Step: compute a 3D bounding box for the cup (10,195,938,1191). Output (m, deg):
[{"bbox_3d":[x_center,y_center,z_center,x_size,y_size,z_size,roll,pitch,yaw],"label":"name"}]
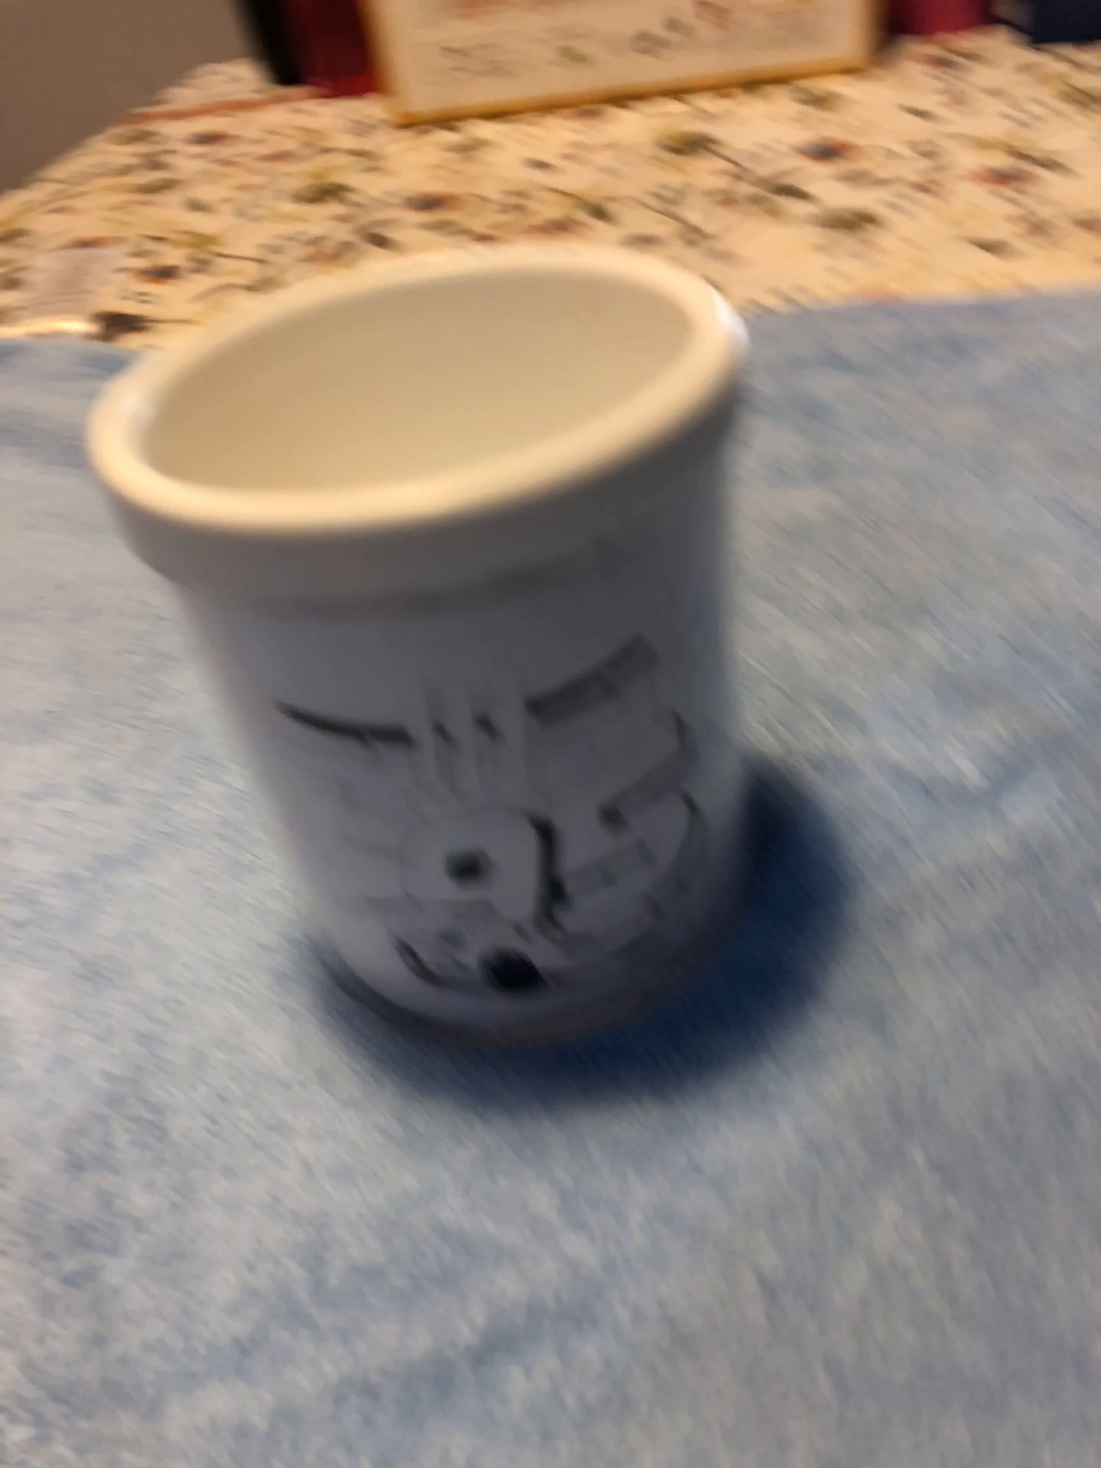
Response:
[{"bbox_3d":[-0.014,-0.018,0.210,0.090,0.099,0.121,-28,41,-20],"label":"cup"}]
